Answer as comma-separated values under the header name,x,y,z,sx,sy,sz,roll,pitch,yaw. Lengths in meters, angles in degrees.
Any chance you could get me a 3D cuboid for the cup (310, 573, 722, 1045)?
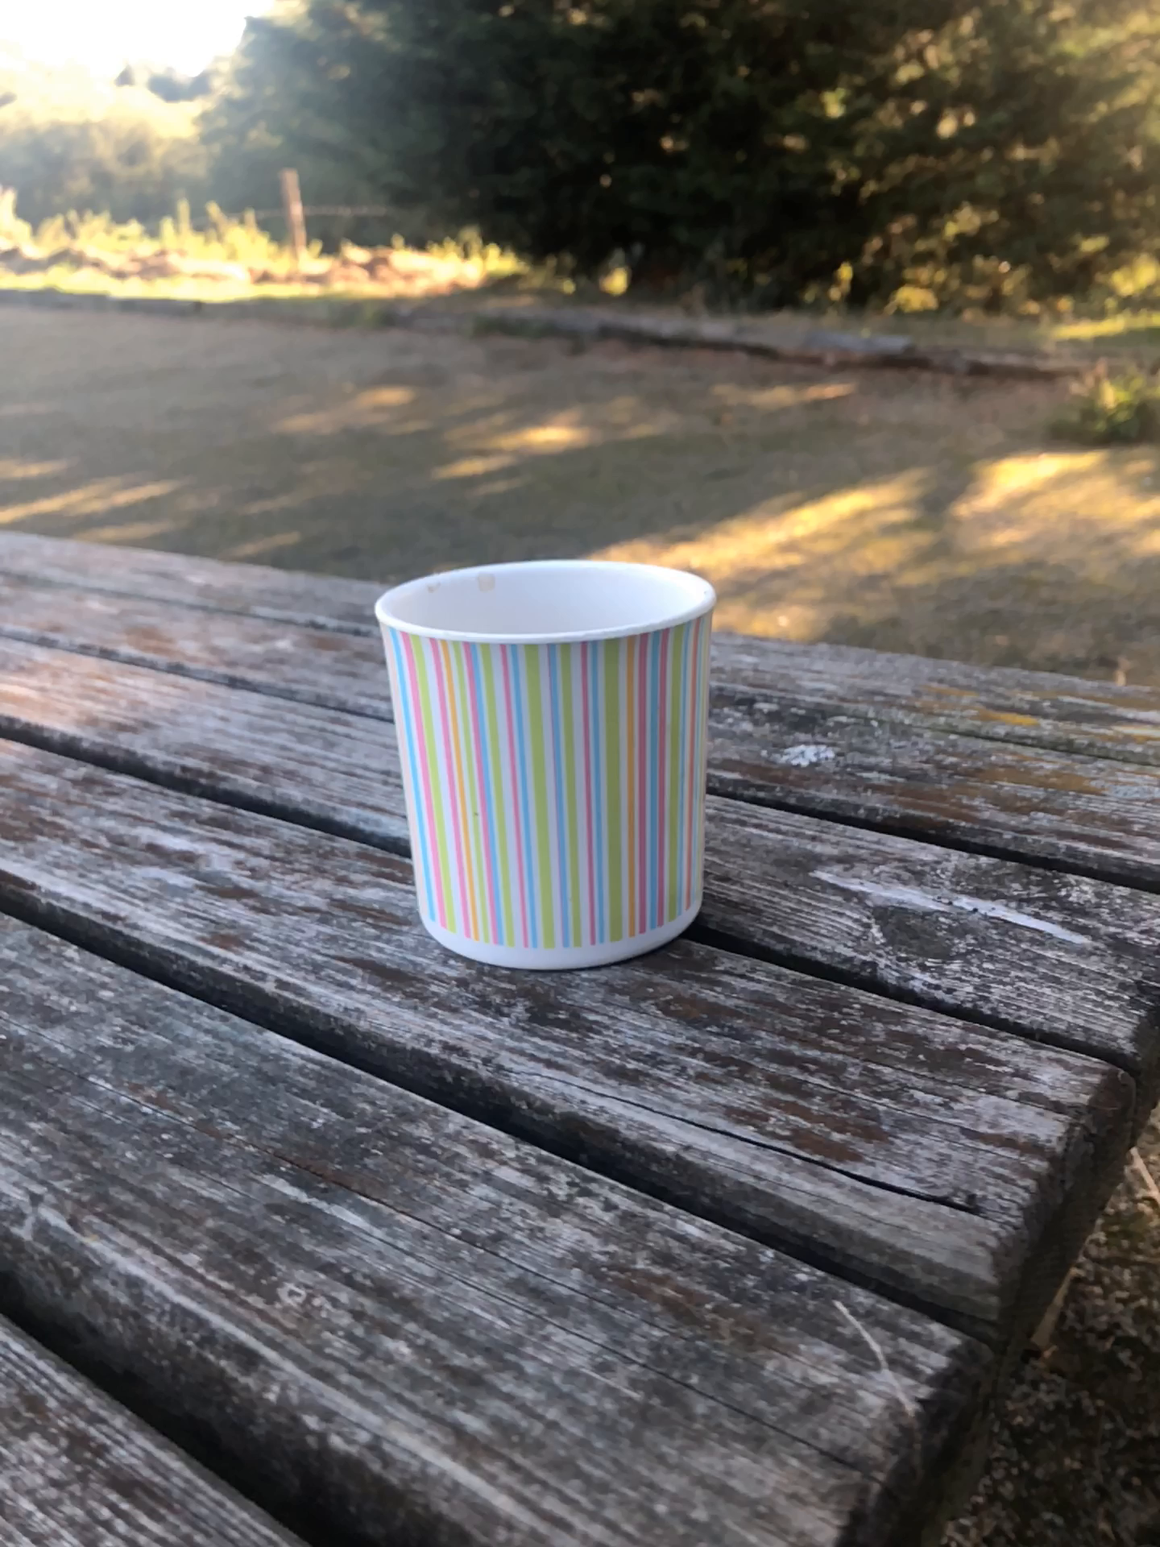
name,x,y,z,sx,sy,sz,roll,pitch,yaw
cup,-0.014,0.002,0.385,0.098,0.096,0.134,1,20,2
